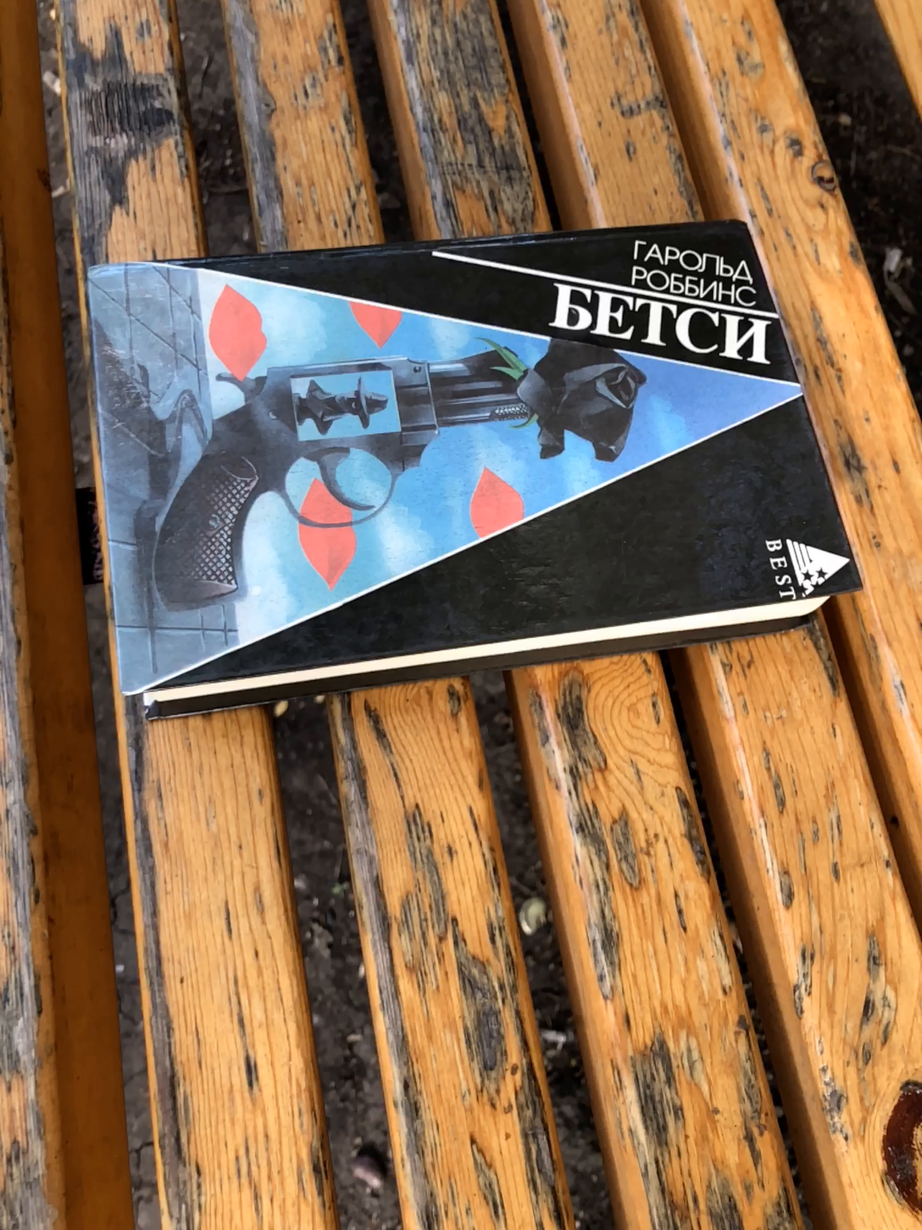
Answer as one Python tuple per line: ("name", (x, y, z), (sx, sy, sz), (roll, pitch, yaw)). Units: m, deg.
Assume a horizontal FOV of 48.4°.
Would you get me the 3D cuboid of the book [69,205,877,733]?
("book", (0.000, -0.048, 0.311), (0.210, 0.045, 0.130), (-8, 73, -9))
